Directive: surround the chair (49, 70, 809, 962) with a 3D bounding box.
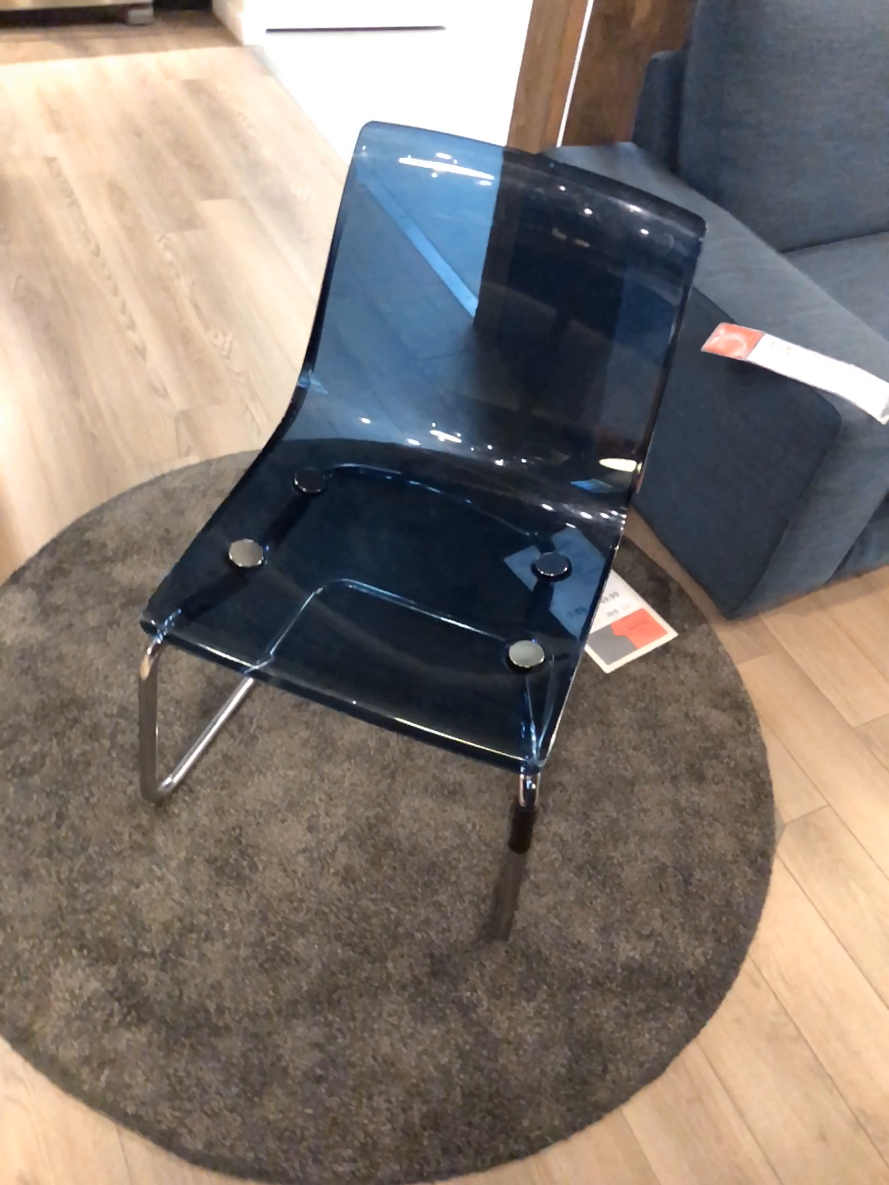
[{"bbox_3d":[-0.021,-0.046,1.230,0.580,0.867,0.502,19,47,8],"label":"chair"}]
